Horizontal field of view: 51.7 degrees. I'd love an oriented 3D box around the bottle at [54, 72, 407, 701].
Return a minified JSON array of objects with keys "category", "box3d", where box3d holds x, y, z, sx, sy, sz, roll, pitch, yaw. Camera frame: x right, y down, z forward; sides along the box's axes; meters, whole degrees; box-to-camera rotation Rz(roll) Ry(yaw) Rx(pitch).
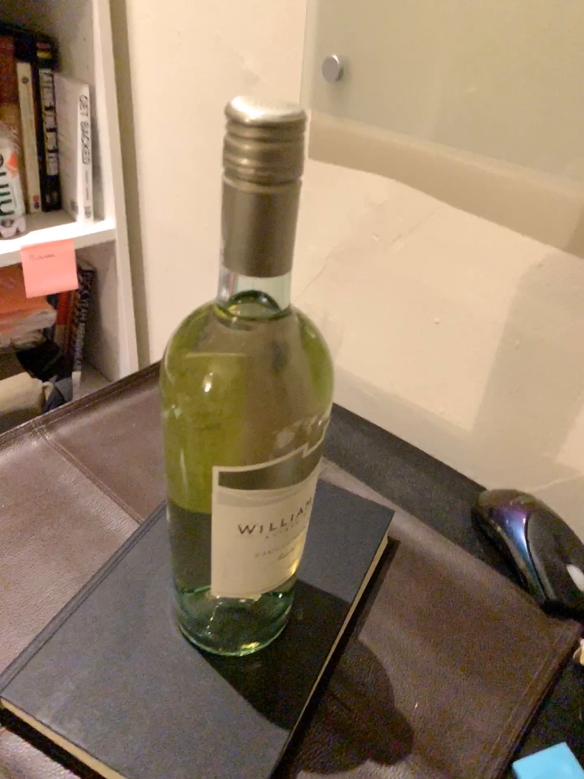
[{"category":"bottle","box3d":[-0.031,0.017,0.305,0.090,0.298,0.090,3,35,-2]}]
